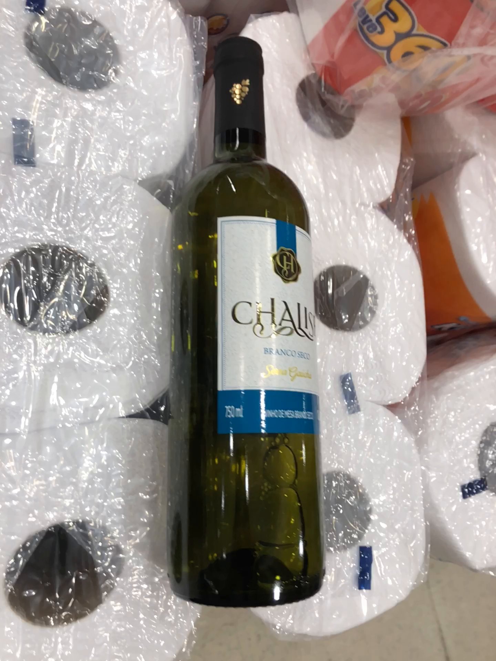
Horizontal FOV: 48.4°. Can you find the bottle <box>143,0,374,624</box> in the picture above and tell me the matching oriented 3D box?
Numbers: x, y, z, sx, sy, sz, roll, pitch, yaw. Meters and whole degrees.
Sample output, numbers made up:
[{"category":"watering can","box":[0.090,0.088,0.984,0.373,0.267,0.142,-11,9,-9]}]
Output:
[{"category":"bottle","box":[0.003,-0.023,0.273,0.080,0.060,0.280,10,72,-38]}]
